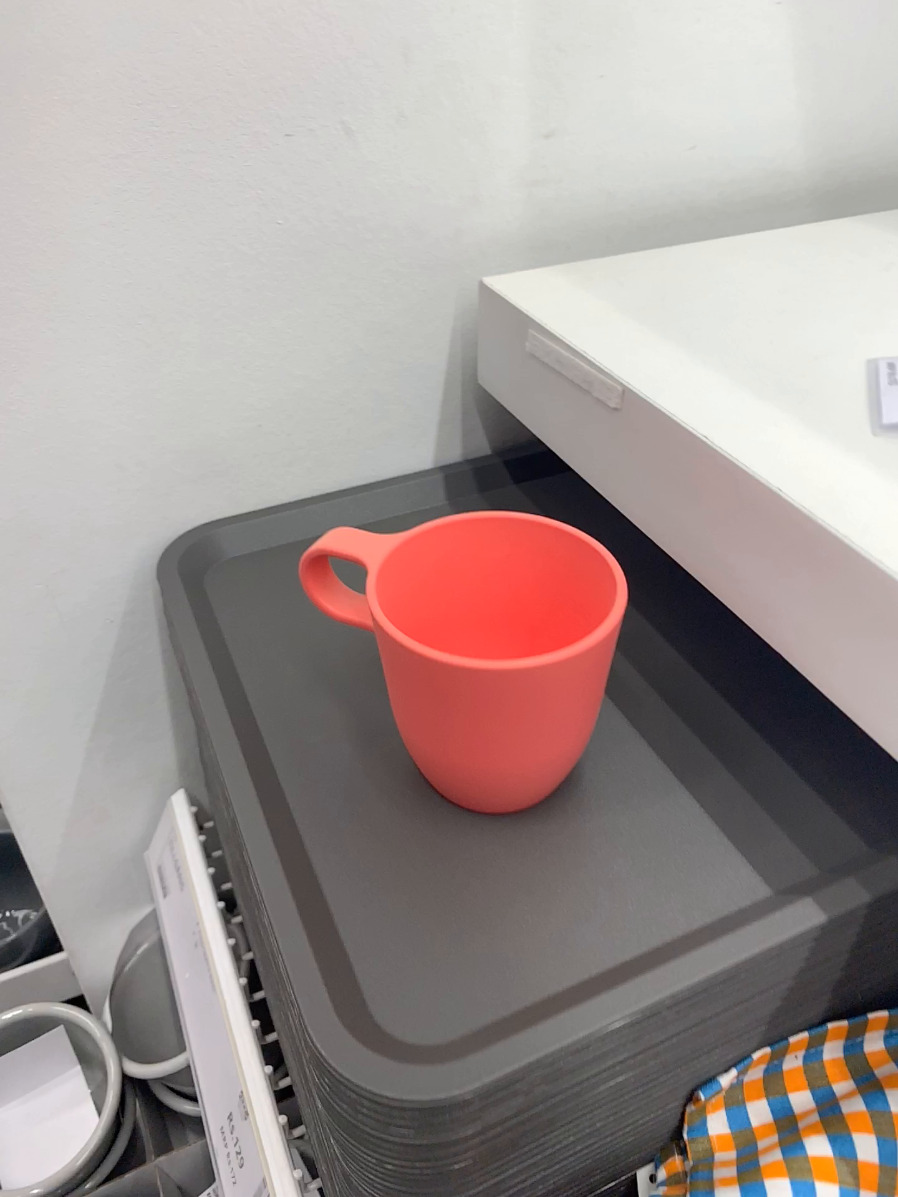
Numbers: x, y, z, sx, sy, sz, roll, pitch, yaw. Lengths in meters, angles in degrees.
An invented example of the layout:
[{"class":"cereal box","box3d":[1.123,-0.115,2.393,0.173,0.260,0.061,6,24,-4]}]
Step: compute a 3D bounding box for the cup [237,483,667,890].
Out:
[{"class":"cup","box3d":[0.003,0.024,0.300,0.110,0.080,0.070,14,39,18]}]
